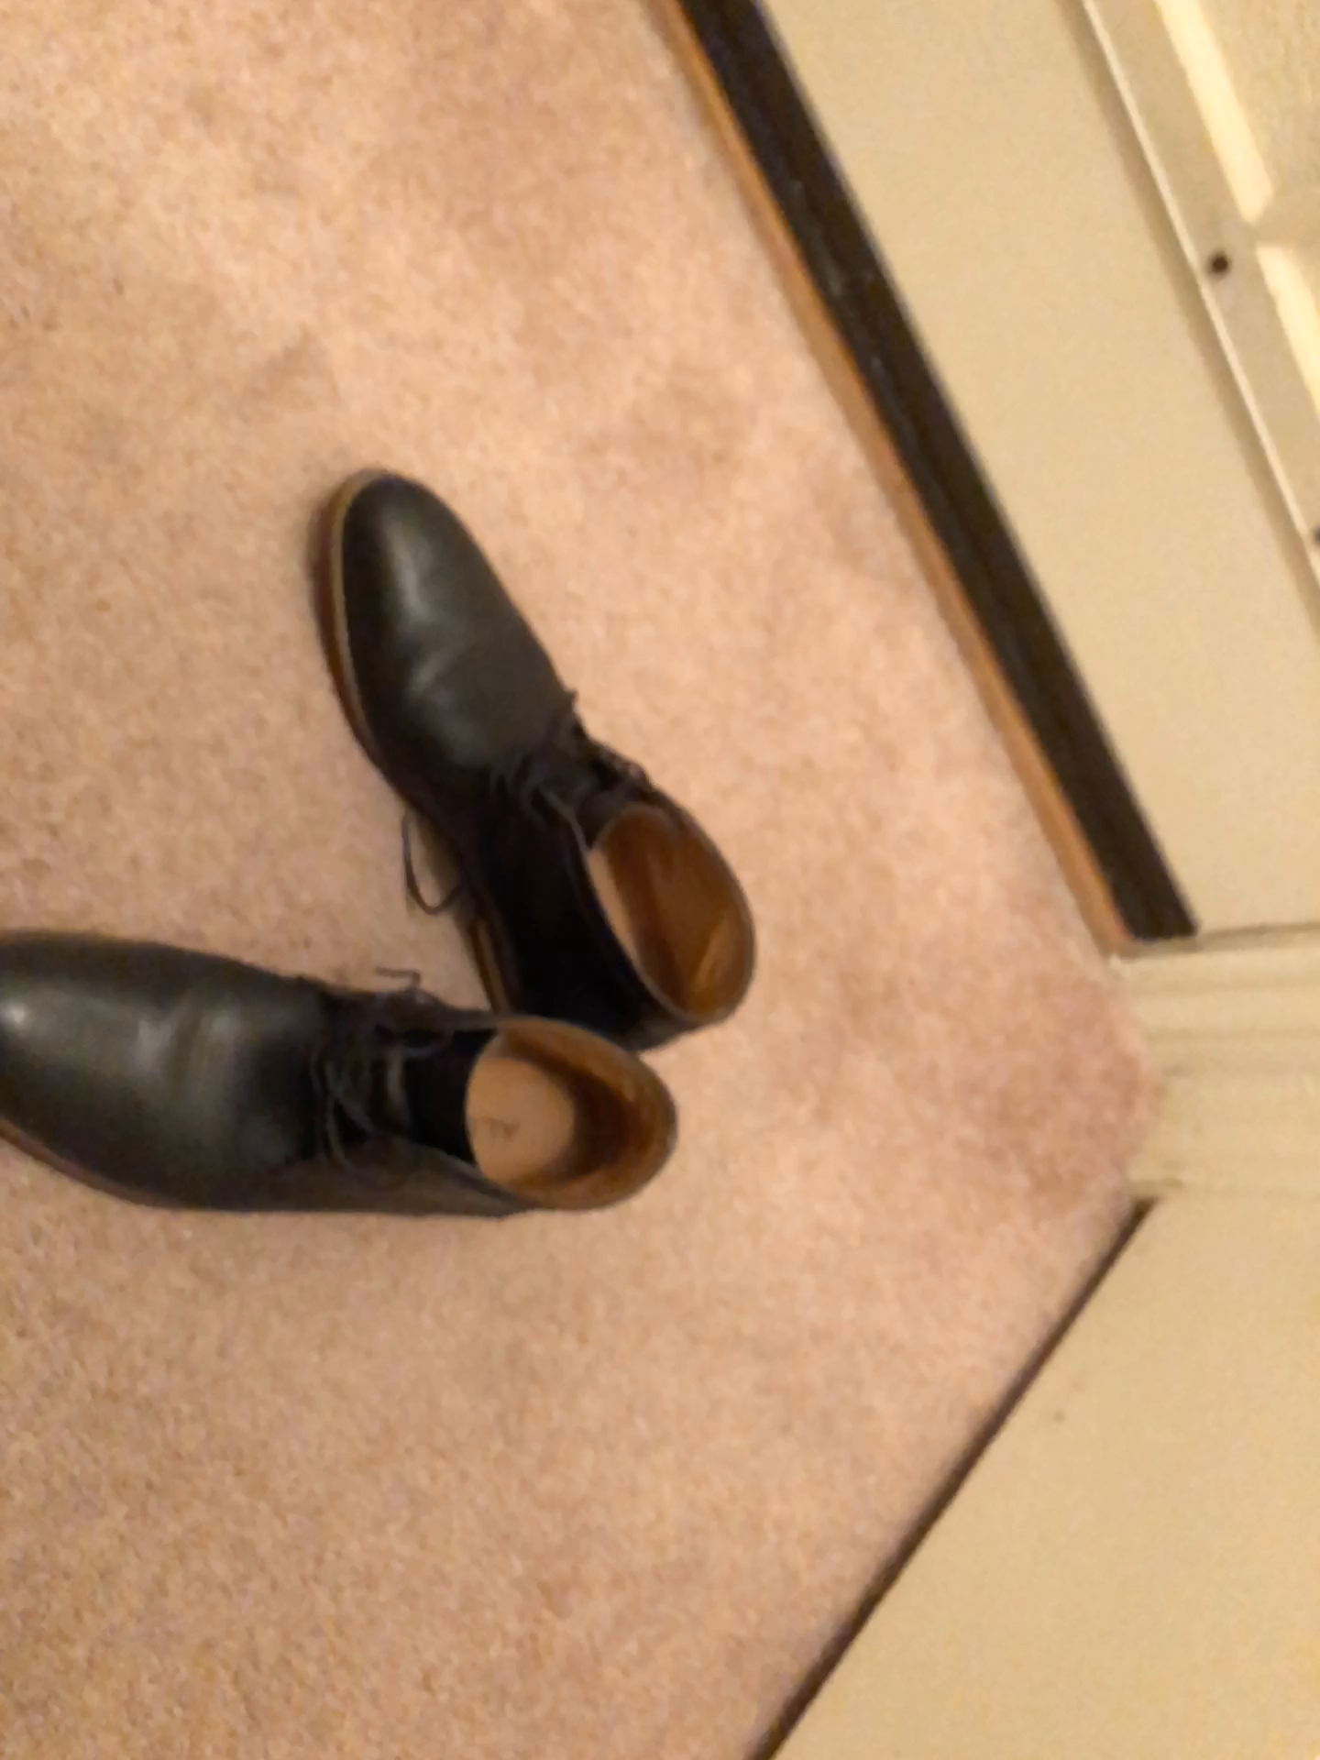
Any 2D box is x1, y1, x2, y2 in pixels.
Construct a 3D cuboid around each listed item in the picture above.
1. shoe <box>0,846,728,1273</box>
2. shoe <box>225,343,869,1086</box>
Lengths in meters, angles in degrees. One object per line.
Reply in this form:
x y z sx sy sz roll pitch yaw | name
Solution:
-0.137 0.084 0.592 0.303 0.136 0.116 15 75 -36 | shoe
-0.049 -0.063 0.683 0.117 0.136 0.302 -38 107 -35 | shoe
